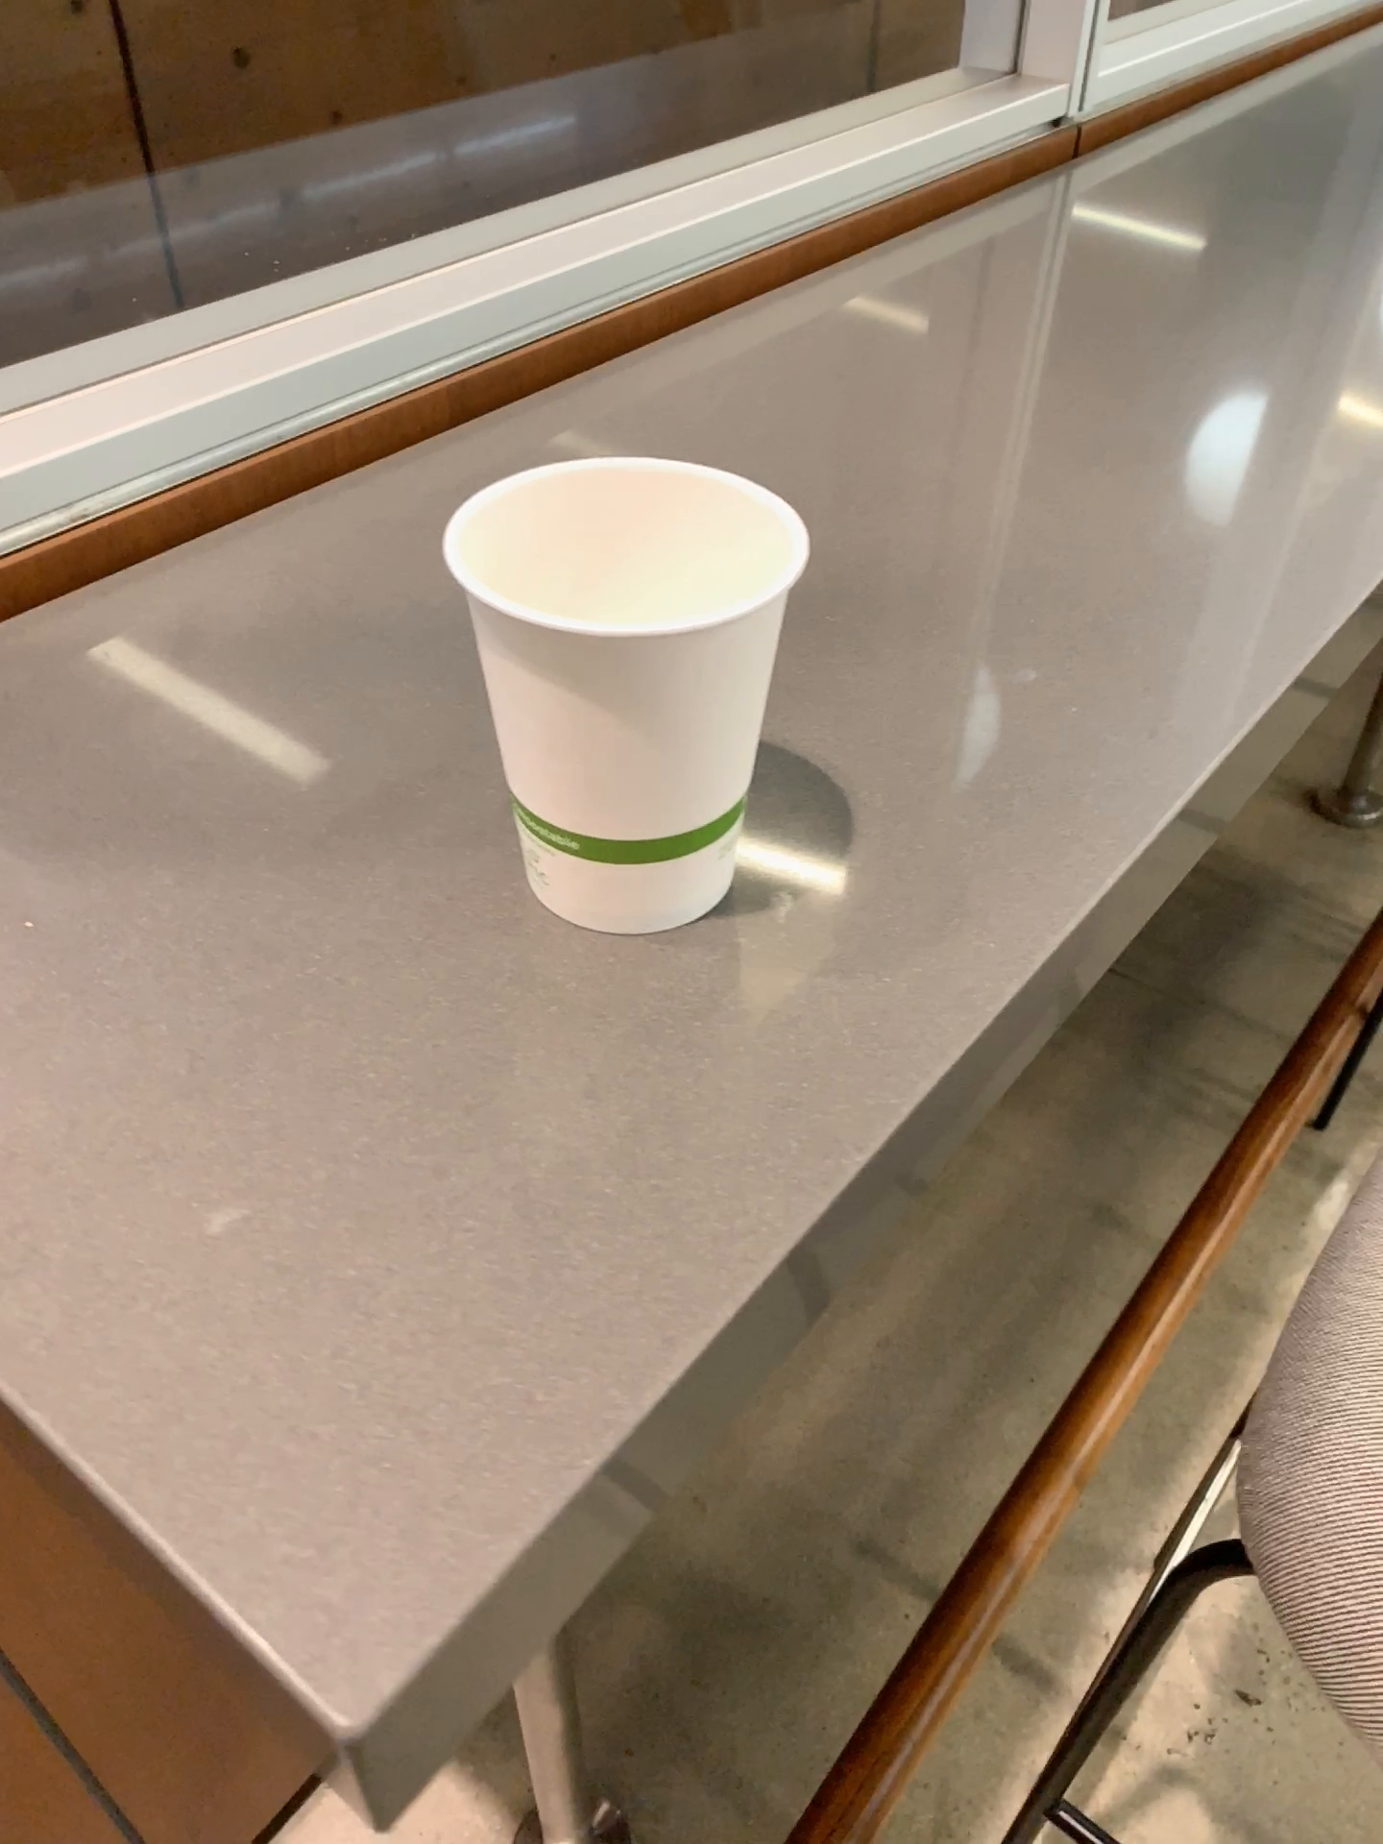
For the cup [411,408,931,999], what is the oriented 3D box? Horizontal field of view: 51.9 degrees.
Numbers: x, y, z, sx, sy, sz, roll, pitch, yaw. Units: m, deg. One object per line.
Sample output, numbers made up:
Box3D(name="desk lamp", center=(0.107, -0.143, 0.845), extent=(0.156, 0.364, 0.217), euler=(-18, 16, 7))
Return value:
Box3D(name="cup", center=(-0.008, -0.059, 0.363), extent=(0.090, 0.099, 0.090), euler=(0, 41, 0))
